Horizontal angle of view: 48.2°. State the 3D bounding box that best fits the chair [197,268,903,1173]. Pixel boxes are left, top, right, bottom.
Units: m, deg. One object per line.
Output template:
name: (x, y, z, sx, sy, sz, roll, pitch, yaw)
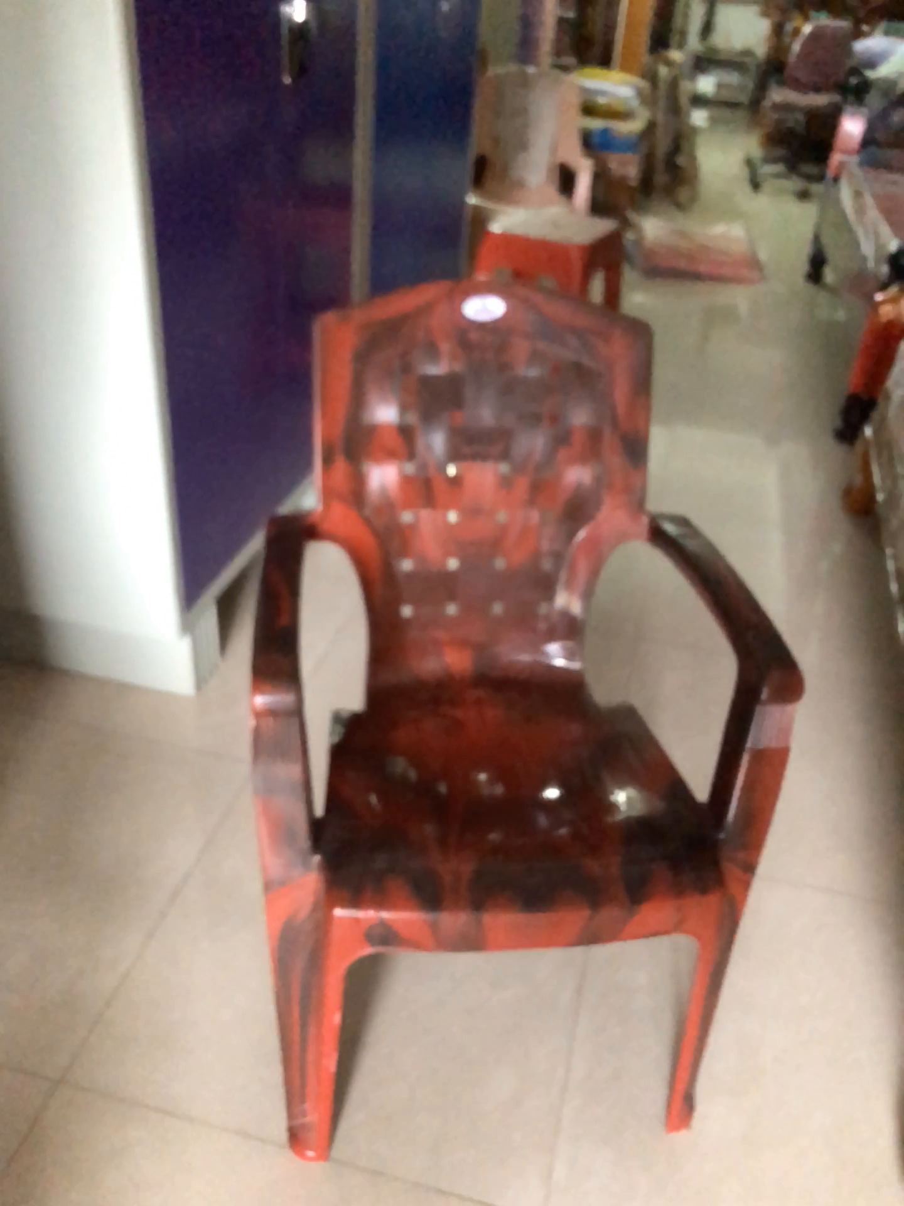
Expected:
chair: (0.041, 0.134, 1.183, 0.530, 0.865, 0.563, 0, 33, -6)
